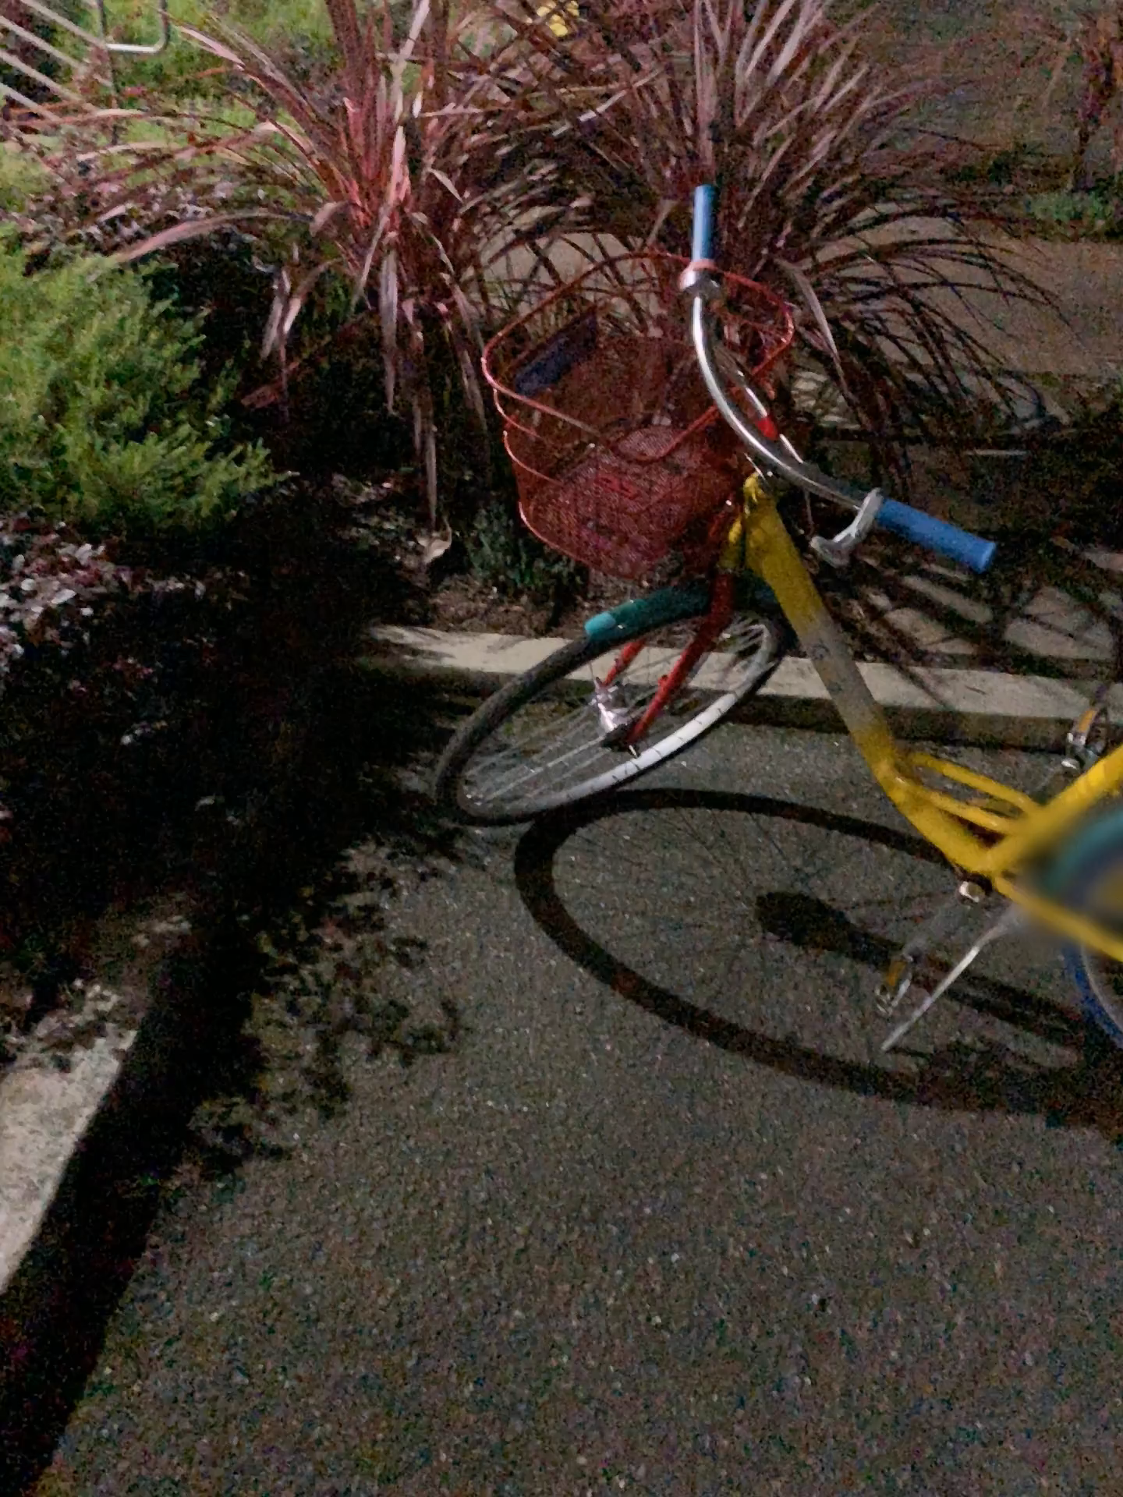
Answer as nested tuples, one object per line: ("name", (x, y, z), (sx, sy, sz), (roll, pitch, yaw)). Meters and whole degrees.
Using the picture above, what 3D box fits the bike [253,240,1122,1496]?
("bike", (0.505, 0.071, 1.420), (1.585, 1.085, 0.602), (16, 39, 22))
